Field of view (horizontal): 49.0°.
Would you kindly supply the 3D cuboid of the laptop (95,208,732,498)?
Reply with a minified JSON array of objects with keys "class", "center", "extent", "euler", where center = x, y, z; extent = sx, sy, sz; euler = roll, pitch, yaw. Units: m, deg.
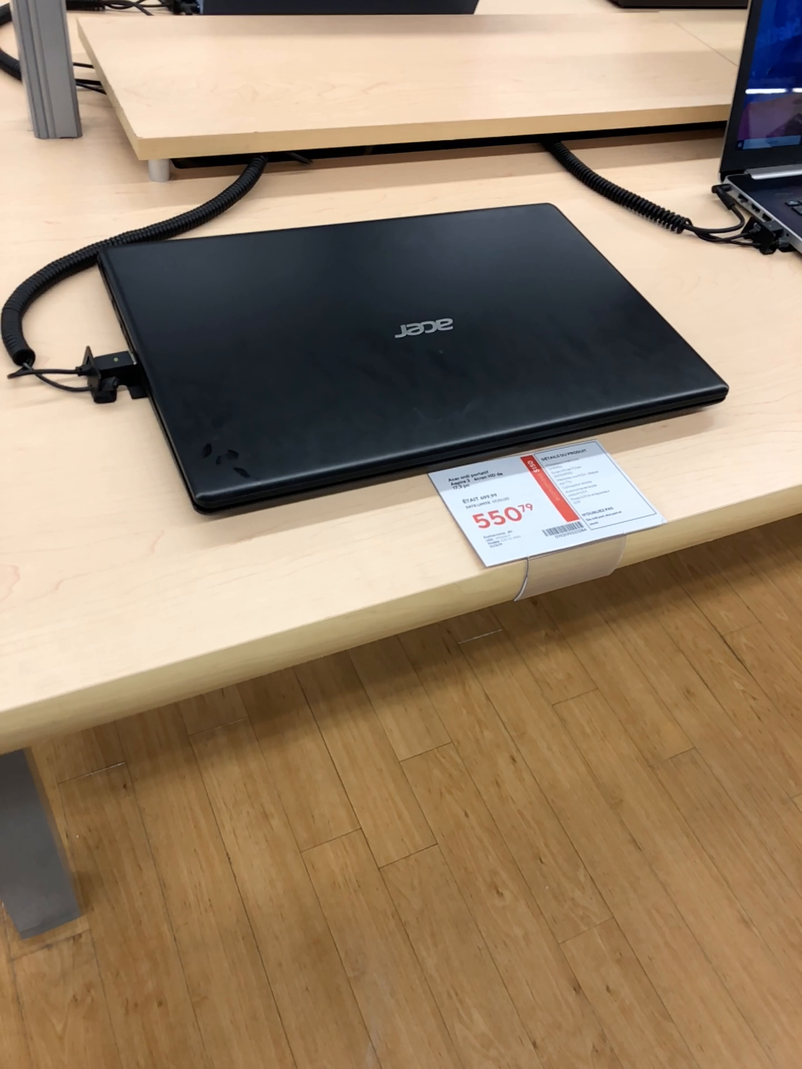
[{"class":"laptop","center":[0.010,-0.164,0.676],"extent":[0.417,0.001,0.268],"euler":[-14,53,-21]}]
